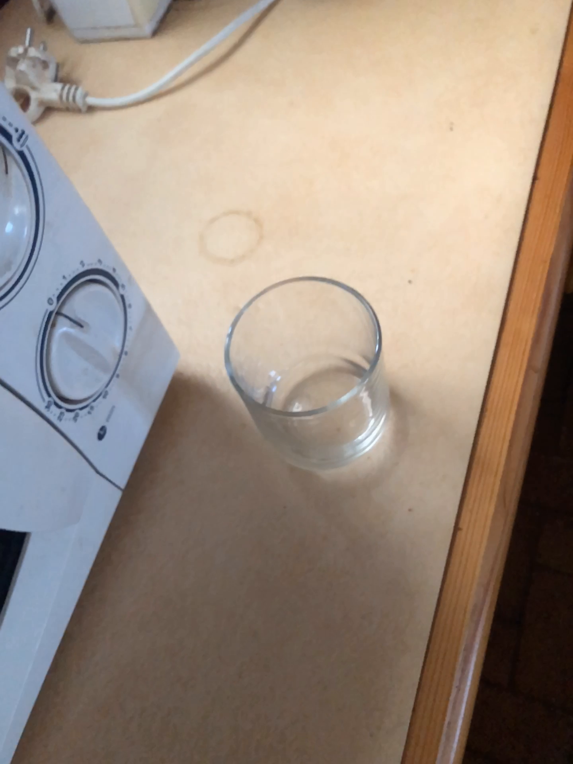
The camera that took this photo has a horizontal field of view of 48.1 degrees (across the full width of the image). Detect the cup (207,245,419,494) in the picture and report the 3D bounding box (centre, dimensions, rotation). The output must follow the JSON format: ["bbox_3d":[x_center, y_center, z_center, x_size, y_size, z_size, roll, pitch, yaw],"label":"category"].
[{"bbox_3d":[0.013,-0.002,0.282,0.070,0.070,0.070,-4,63,9],"label":"cup"}]
